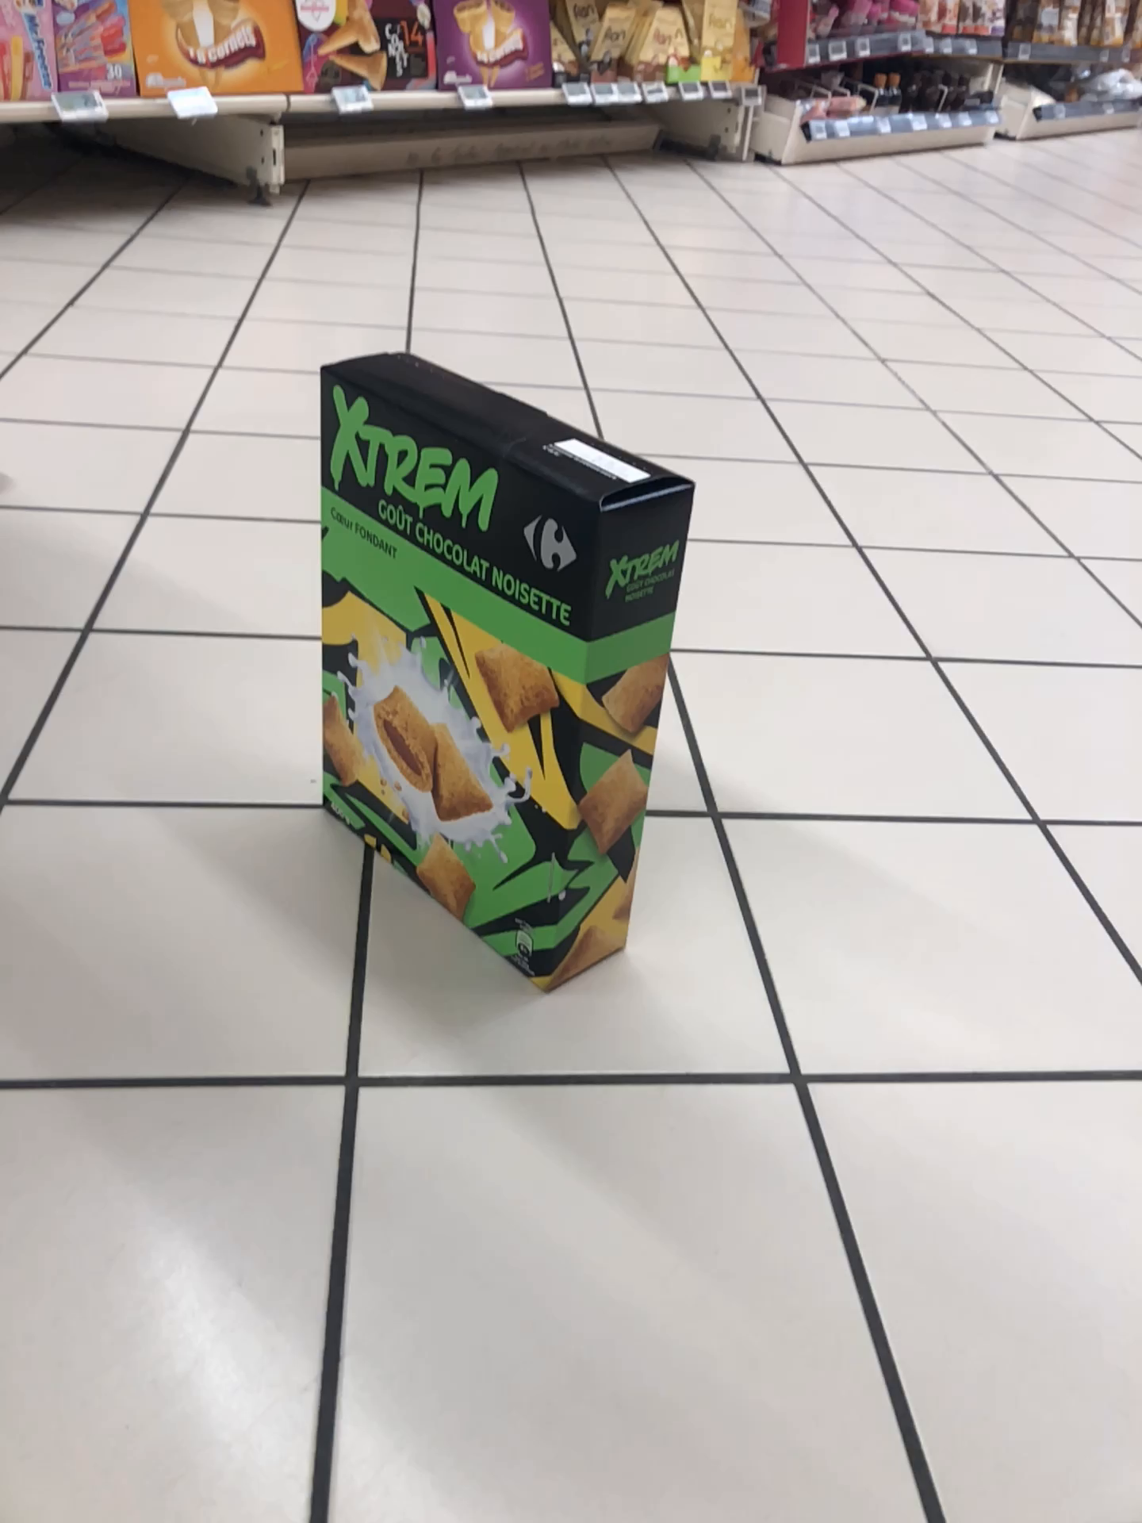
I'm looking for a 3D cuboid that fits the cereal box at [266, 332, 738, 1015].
[{"bbox_3d":[-0.045,-0.047,0.581,0.090,0.238,0.200,-22,42,-36],"label":"cereal box"}]
